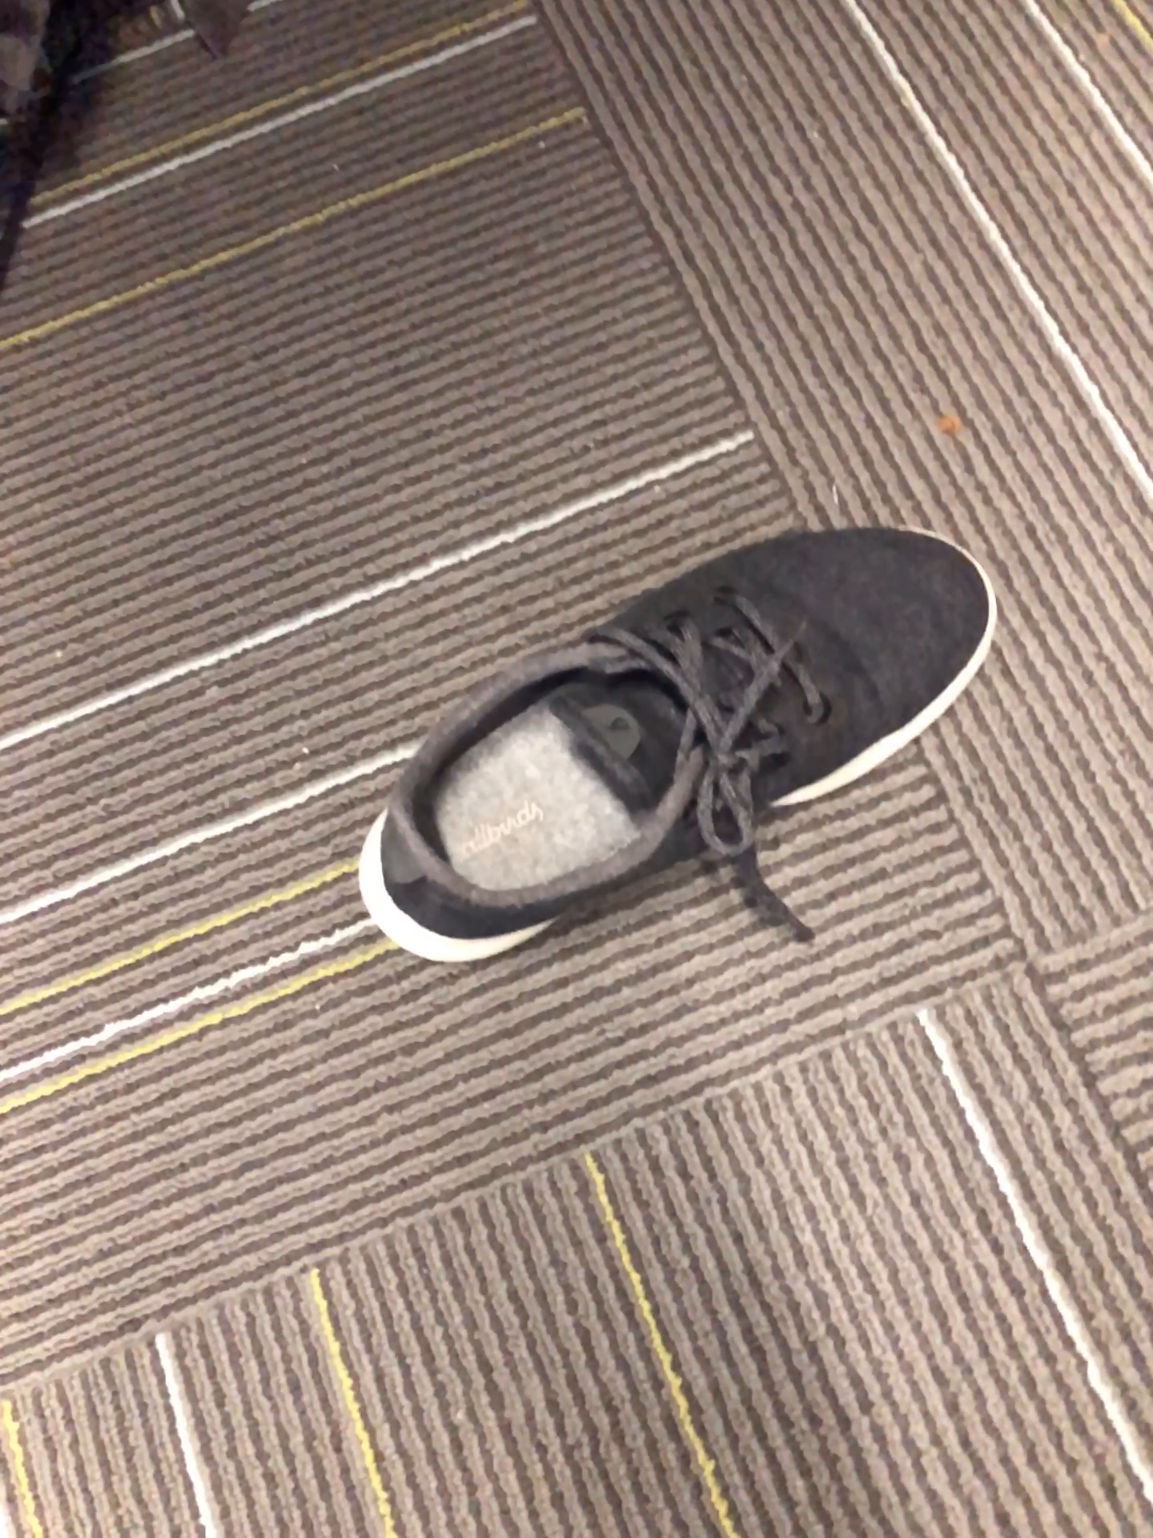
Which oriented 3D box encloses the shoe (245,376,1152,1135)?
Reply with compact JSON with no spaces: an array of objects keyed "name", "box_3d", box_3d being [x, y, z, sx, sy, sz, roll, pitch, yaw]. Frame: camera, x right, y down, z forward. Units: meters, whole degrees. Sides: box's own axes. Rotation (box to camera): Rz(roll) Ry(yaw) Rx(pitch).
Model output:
[{"name":"shoe","box_3d":[0.042,-0.005,0.463,0.280,0.060,0.140,-31,72,-3]}]
